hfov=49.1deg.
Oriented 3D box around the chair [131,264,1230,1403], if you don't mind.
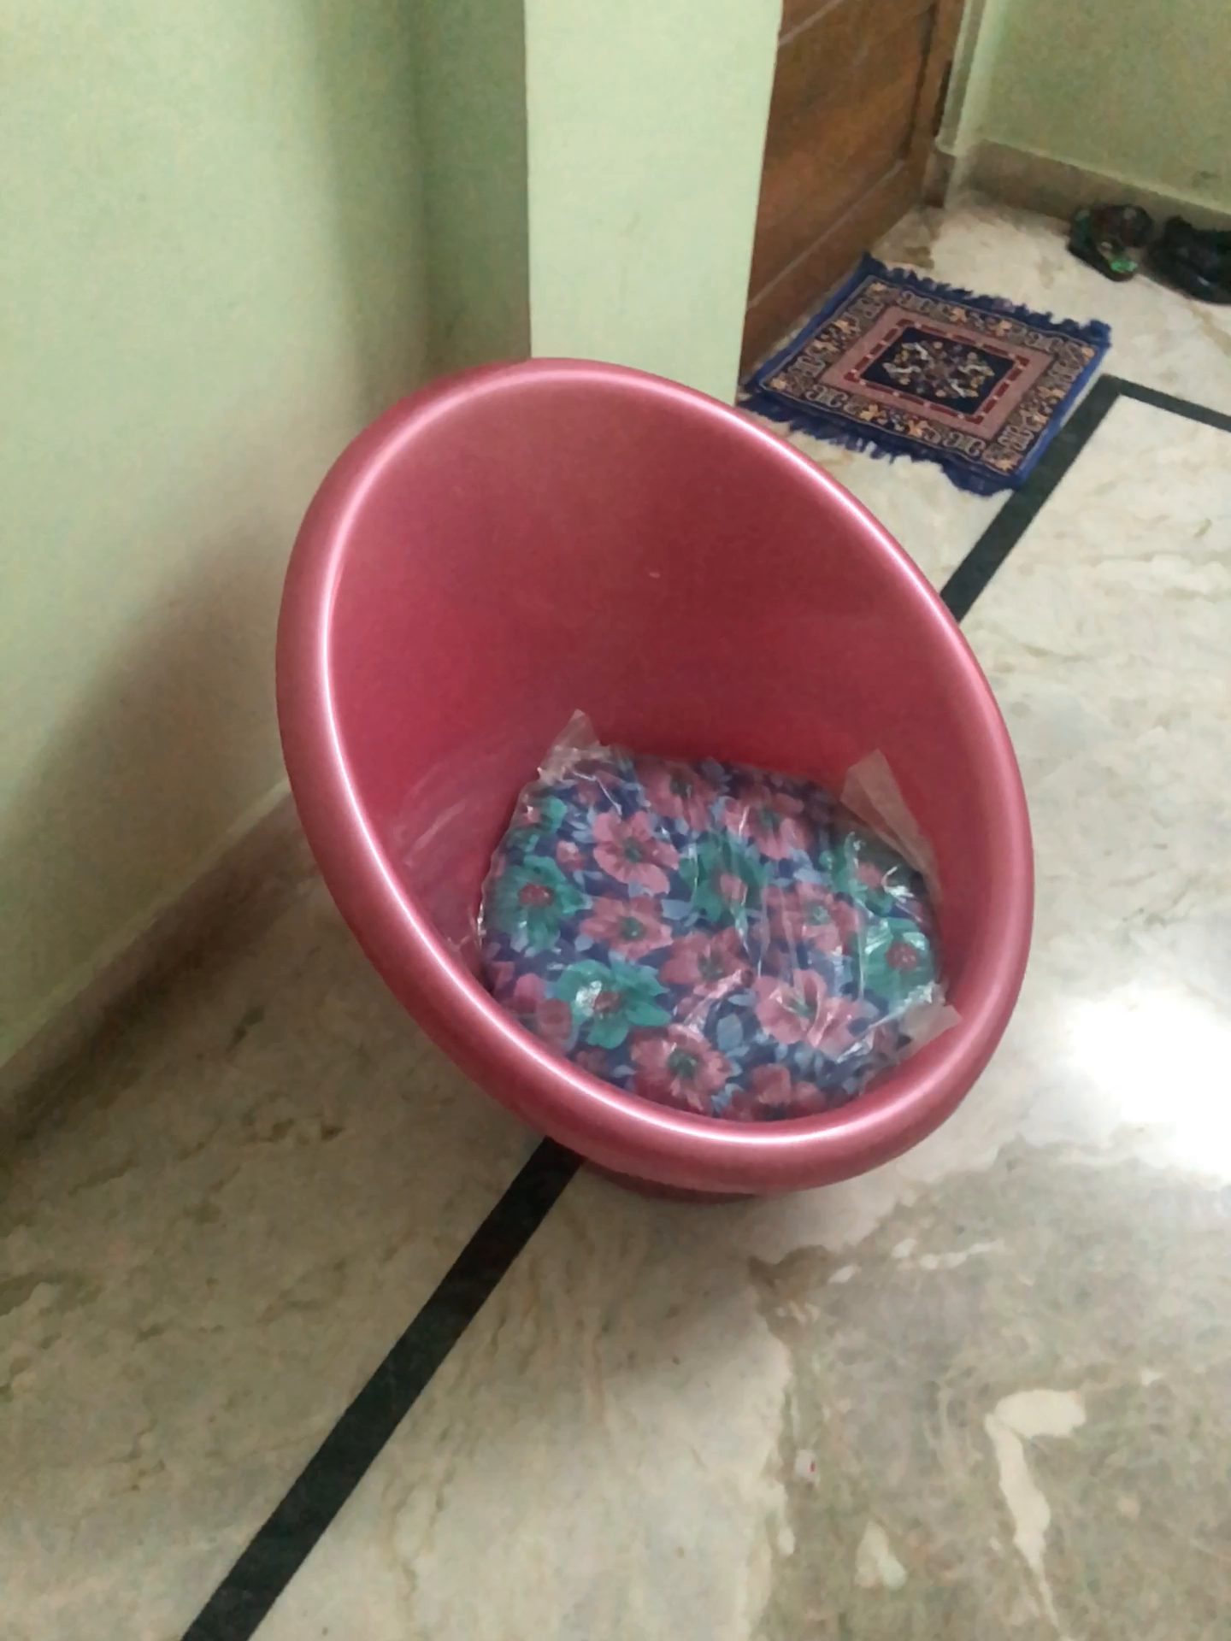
[{"bbox_3d":[0.048,-0.019,1.232,0.641,0.547,0.663,-25,56,-20],"label":"chair"}]
